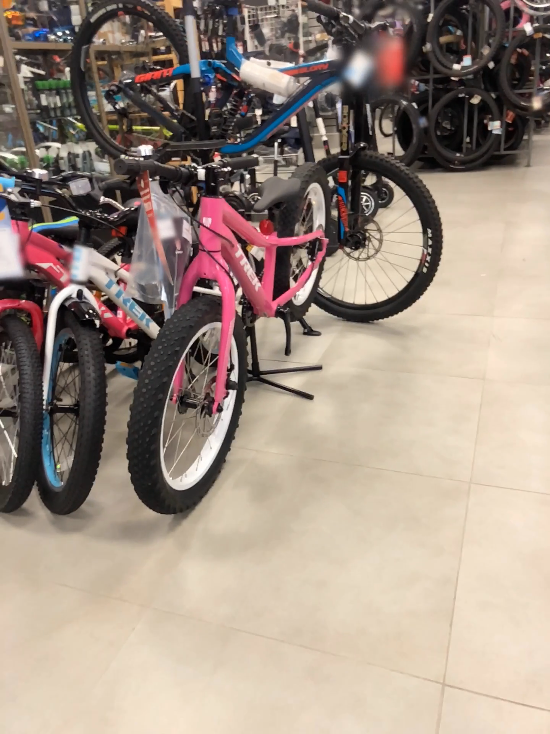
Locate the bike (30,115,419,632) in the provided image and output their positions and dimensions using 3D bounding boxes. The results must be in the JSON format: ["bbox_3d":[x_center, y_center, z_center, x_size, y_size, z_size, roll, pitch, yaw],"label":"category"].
[{"bbox_3d":[0.021,-0.180,1.705,0.571,0.668,1.341,5,33,21],"label":"bike"}]
